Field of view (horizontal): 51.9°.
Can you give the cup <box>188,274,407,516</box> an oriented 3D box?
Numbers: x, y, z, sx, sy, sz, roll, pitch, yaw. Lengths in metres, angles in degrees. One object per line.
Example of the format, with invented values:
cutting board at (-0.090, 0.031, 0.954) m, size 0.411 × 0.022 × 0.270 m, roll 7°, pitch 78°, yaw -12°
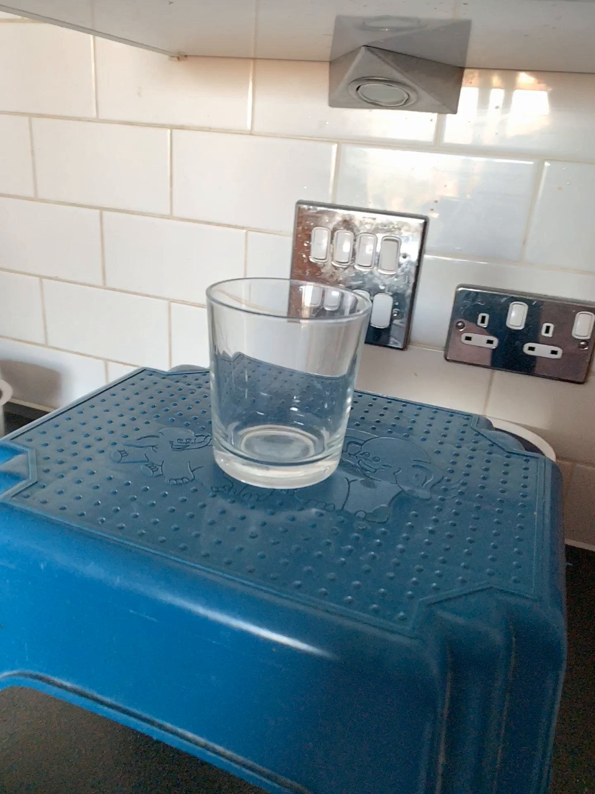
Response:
cup at (-0.003, -0.007, 0.300) m, size 0.077 × 0.085 × 0.067 m, roll 23°, pitch 28°, yaw 36°
